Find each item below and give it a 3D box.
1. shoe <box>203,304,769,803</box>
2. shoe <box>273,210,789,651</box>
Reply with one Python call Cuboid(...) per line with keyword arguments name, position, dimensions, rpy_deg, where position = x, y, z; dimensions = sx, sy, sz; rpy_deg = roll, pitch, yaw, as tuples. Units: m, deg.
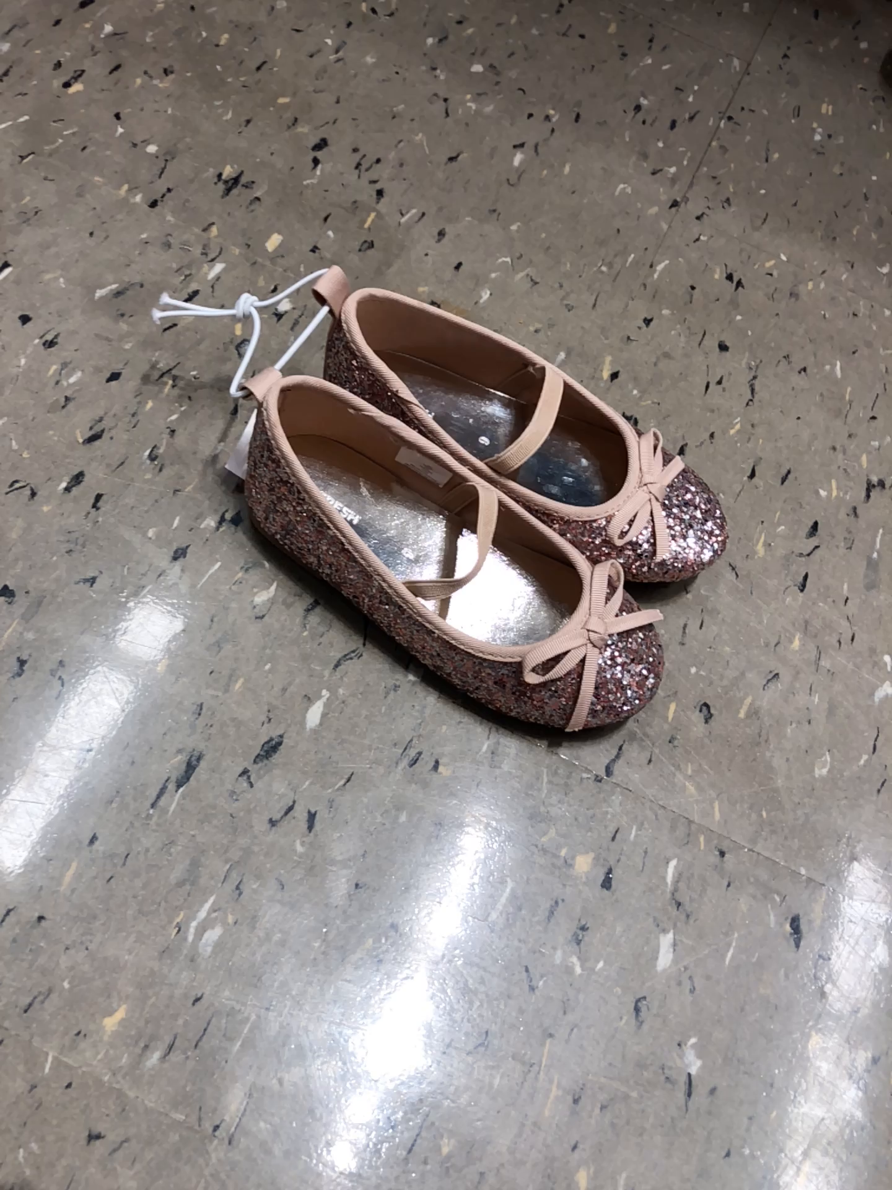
Cuboid(name="shoe", position=(0.008, -0.013, 0.327), dimensions=(0.160, 0.070, 0.070), rpy_deg=(30, 59, 5))
Cuboid(name="shoe", position=(0.027, -0.058, 0.360), dimensions=(0.160, 0.070, 0.070), rpy_deg=(27, 59, 3))
